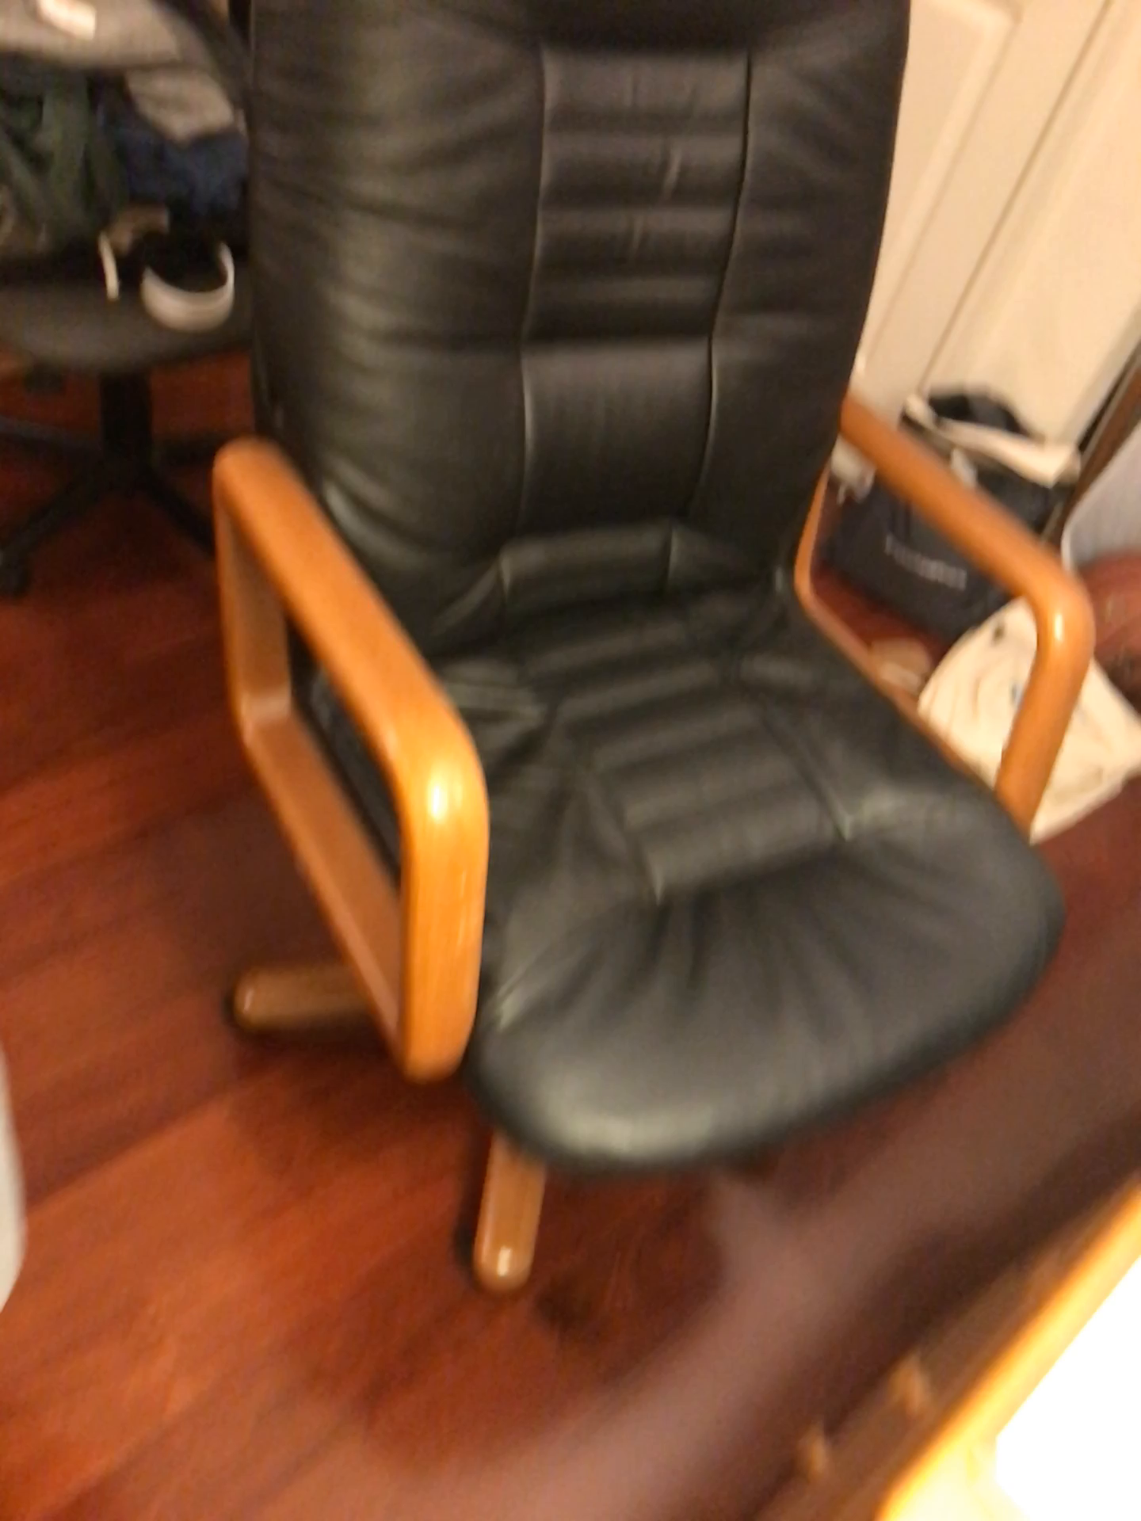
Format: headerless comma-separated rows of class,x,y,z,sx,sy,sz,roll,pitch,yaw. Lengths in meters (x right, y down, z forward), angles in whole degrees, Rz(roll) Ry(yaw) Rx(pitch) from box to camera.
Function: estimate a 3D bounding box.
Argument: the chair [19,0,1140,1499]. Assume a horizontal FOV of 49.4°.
chair,0.175,-0.097,1.169,0.994,1.141,0.853,-15,56,-26
